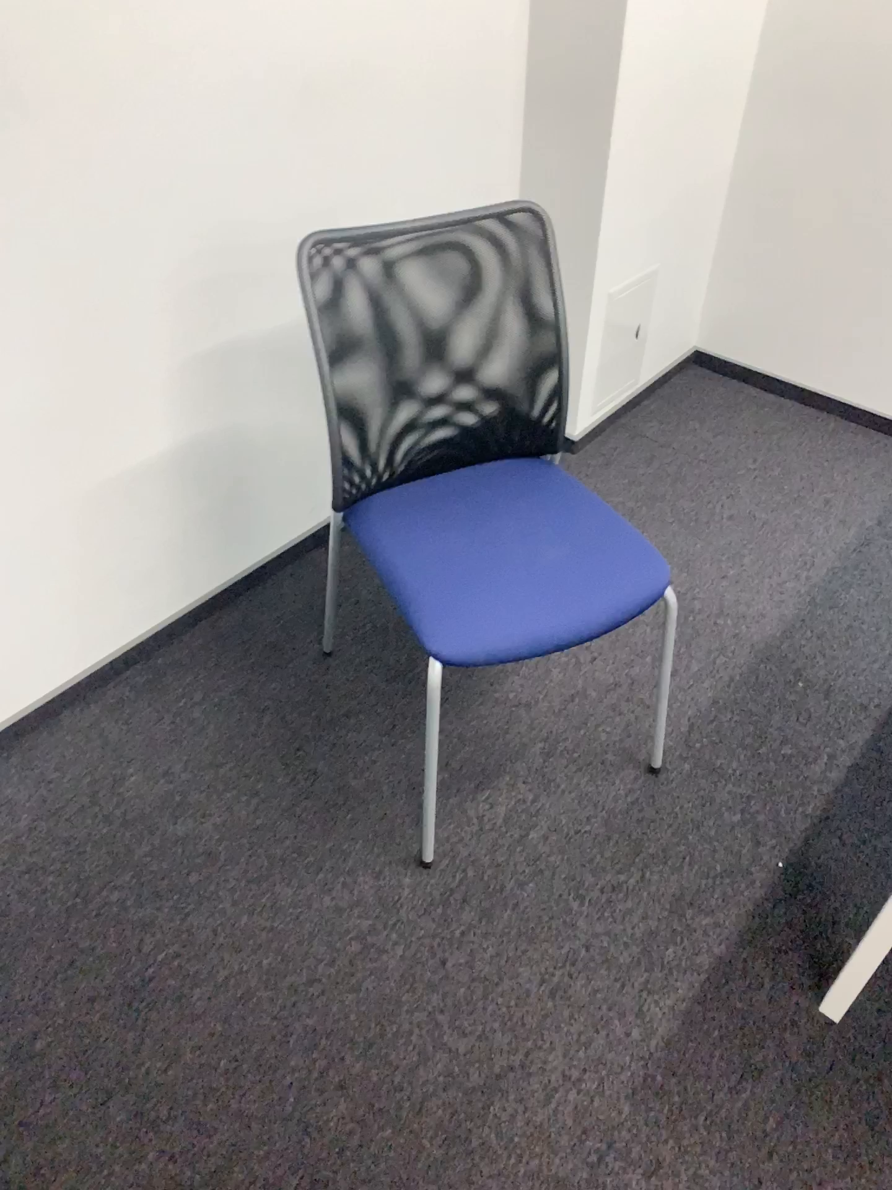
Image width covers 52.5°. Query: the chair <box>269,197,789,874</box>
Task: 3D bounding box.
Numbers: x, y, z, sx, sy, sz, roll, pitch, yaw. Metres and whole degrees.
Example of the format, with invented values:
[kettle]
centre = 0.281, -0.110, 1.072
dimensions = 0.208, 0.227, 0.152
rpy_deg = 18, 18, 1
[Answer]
[chair]
centre = 0.073, -0.095, 1.525
dimensions = 0.491, 0.865, 0.593
rpy_deg = -16, 45, -18
